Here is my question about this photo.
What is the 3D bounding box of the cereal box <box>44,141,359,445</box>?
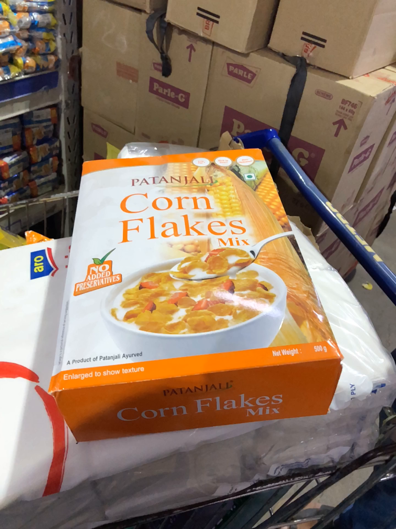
[{"bbox_3d":[-0.011,0.000,0.397,0.200,0.079,0.272,-5,47,-5],"label":"cereal box"}]
